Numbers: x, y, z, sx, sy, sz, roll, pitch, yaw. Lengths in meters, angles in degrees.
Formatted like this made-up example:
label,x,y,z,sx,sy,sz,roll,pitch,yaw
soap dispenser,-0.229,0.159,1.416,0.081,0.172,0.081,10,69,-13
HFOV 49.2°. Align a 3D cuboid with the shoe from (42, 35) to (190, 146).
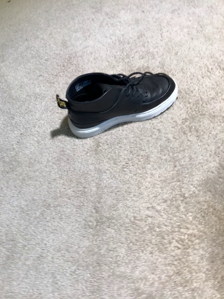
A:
label,x,y,z,sx,sy,sz,roll,pitch,yaw
shoe,0.008,-0.119,0.512,0.262,0.111,0.107,-19,63,-3
